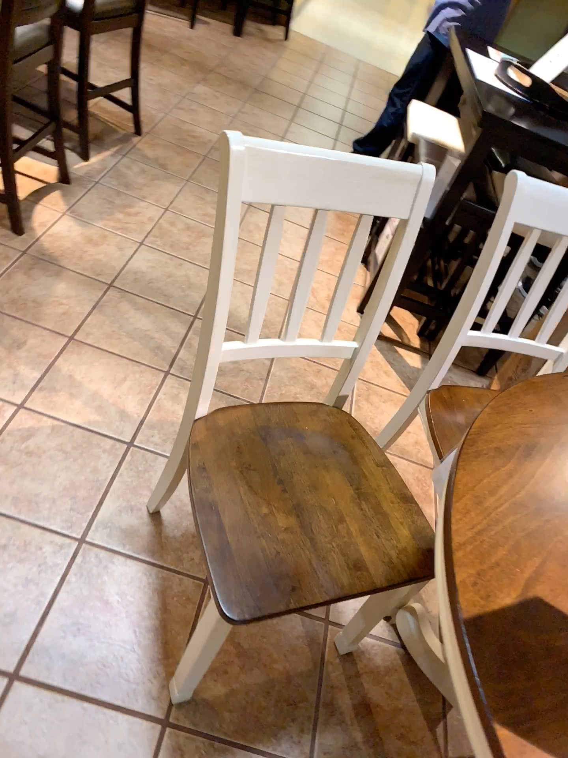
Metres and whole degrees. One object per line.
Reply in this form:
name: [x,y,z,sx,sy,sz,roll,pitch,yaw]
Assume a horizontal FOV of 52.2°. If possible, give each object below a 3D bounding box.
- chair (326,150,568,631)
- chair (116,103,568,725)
chair: [0.554,0.086,1.377,0.491,0.901,0.634,6,45,-20]
chair: [0.031,0.110,1.097,0.491,0.891,0.634,-1,47,-26]
